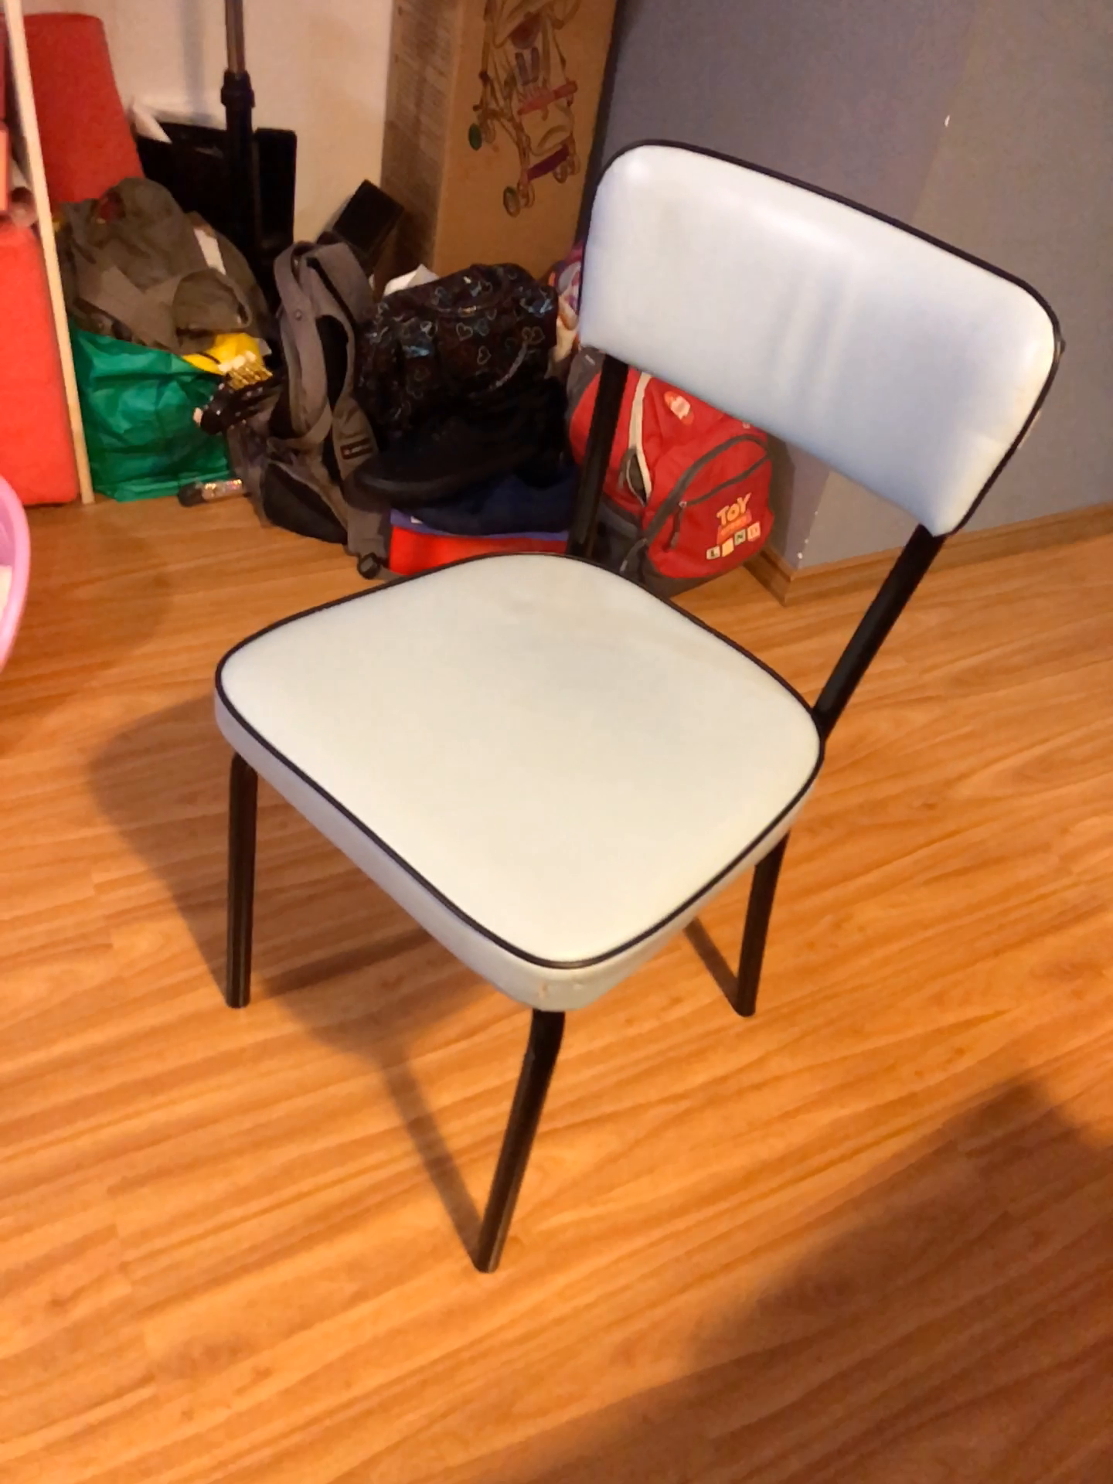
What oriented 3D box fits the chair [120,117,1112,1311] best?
[{"bbox_3d":[0.014,-0.016,1.053,0.451,0.794,0.502,37,49,26],"label":"chair"}]
